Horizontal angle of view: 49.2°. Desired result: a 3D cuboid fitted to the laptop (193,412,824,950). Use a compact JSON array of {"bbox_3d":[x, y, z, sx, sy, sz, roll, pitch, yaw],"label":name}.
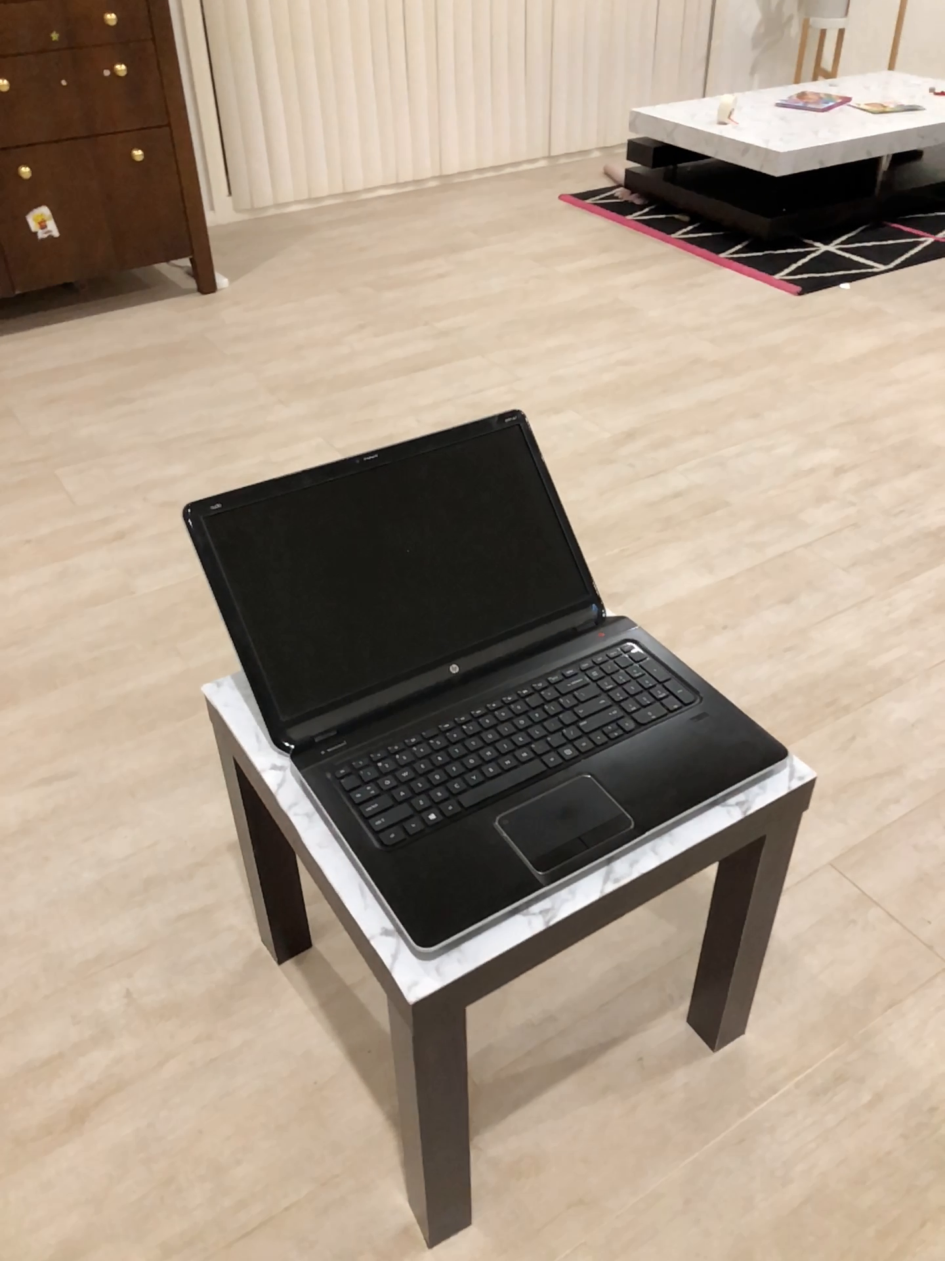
[{"bbox_3d":[0.013,0.001,0.973,0.387,0.169,0.440,-21,42,-25],"label":"laptop"}]
